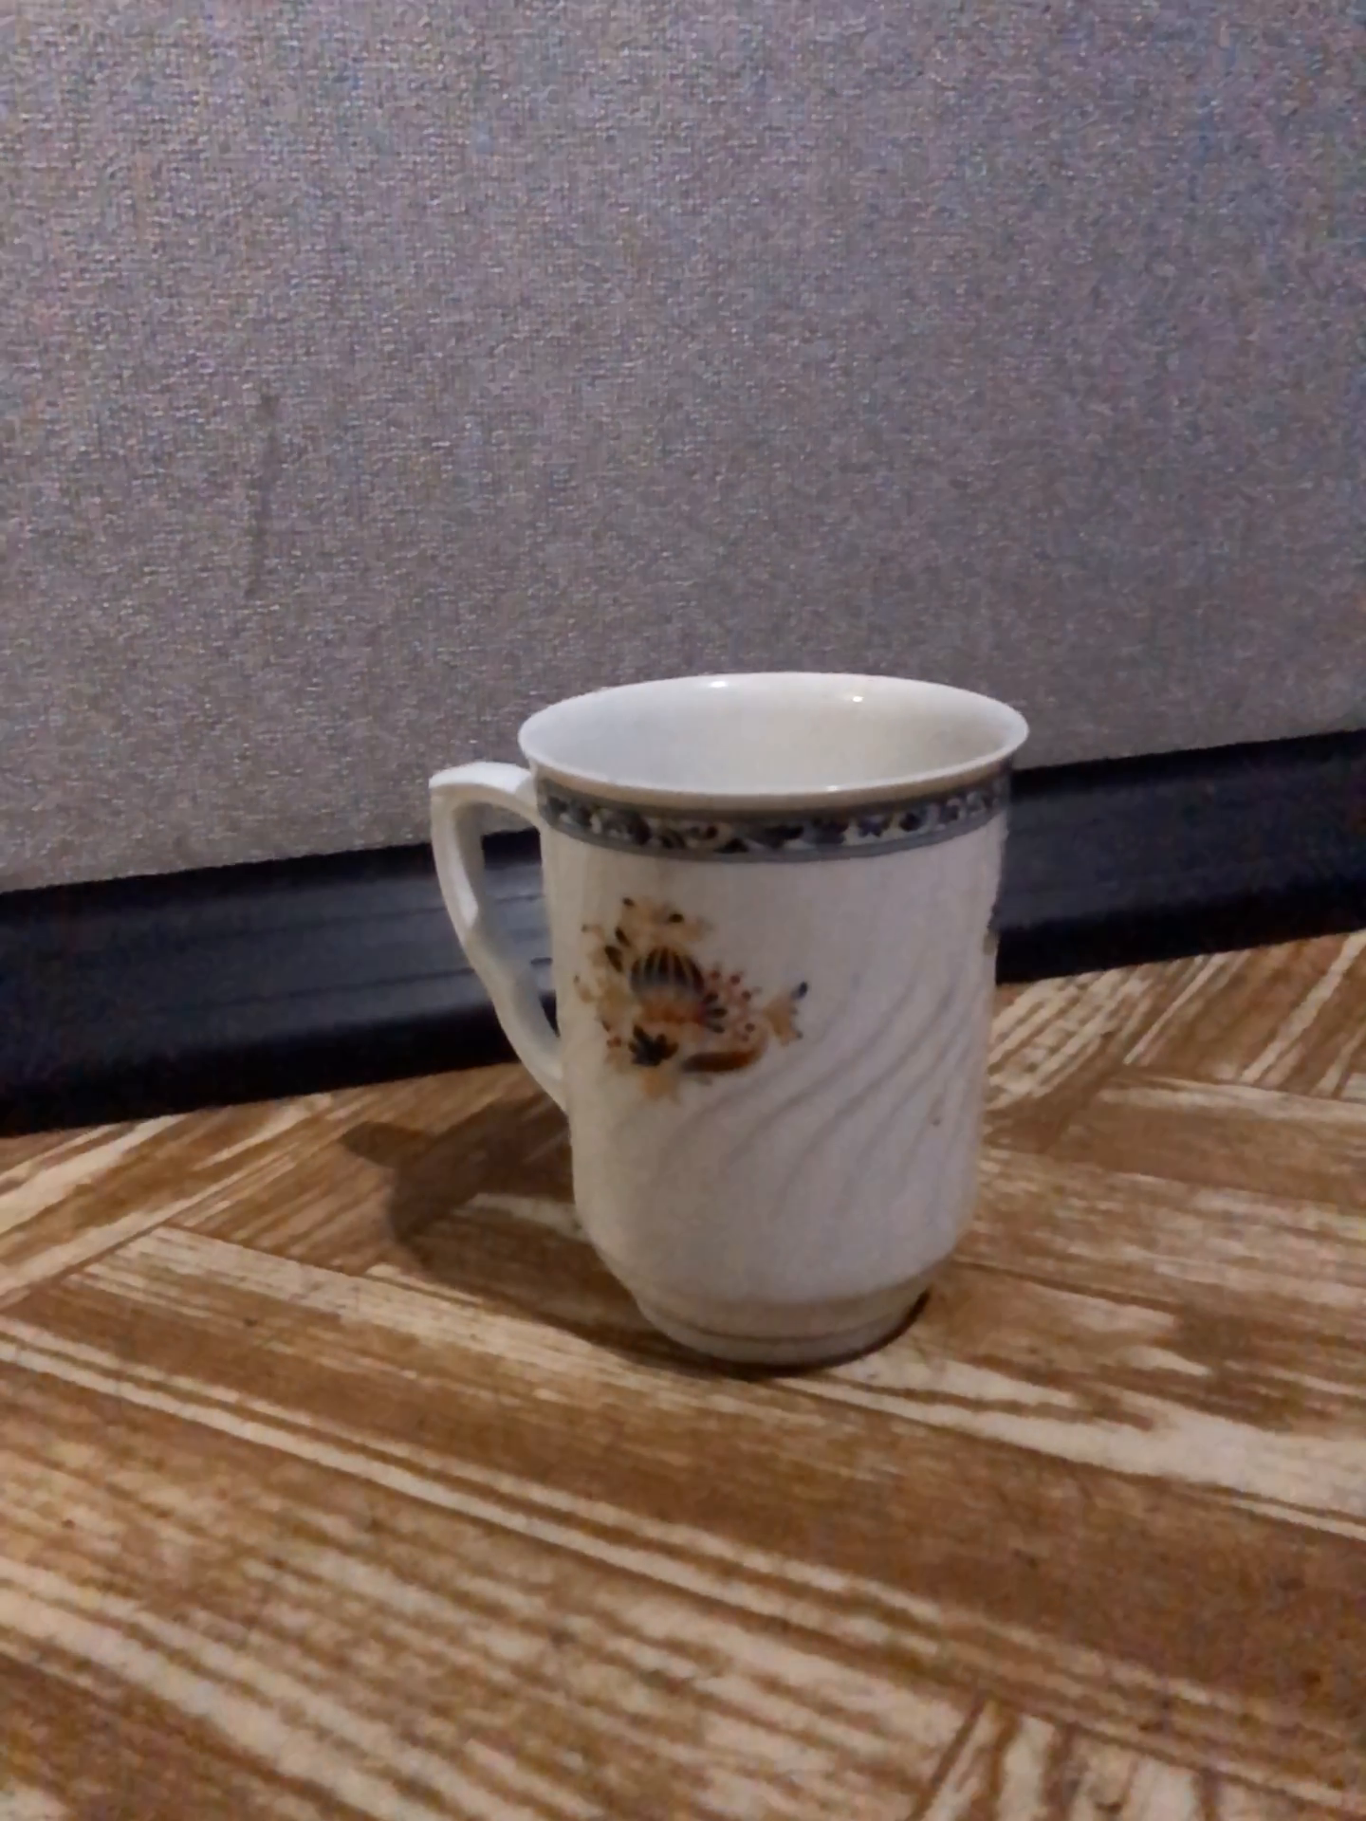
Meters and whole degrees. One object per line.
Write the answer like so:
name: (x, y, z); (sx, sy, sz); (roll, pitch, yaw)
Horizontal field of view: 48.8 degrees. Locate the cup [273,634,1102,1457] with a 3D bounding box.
cup: (0.000, 0.011, 0.270); (0.118, 0.099, 0.077); (15, 26, 40)
